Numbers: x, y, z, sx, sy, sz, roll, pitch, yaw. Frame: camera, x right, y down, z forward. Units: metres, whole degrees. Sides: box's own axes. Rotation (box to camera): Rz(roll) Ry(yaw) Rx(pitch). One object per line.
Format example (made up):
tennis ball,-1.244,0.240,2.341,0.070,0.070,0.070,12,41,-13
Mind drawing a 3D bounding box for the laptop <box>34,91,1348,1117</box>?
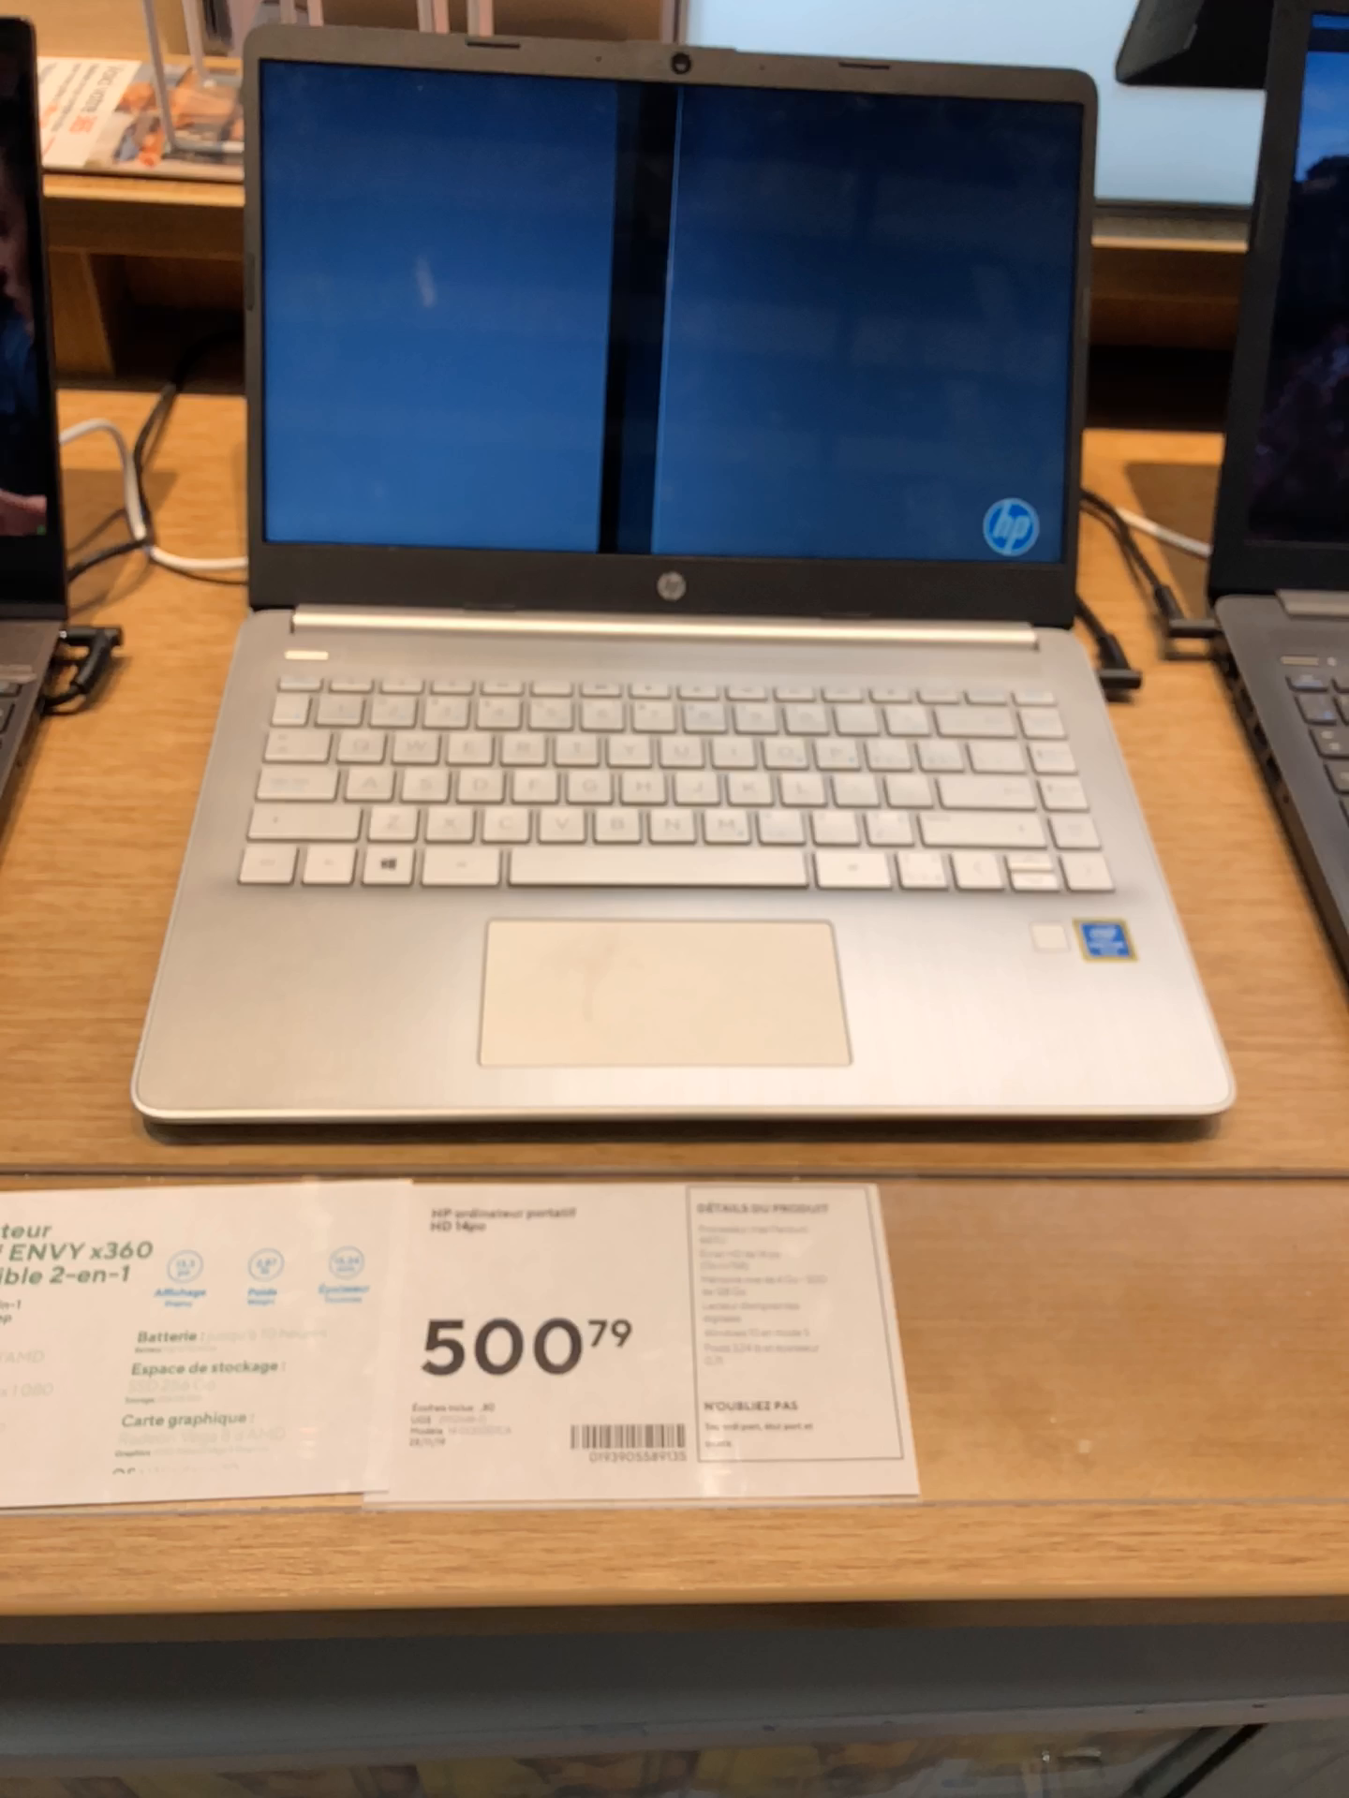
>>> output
laptop,0.010,-0.119,0.501,0.307,0.167,0.347,0,47,-1
